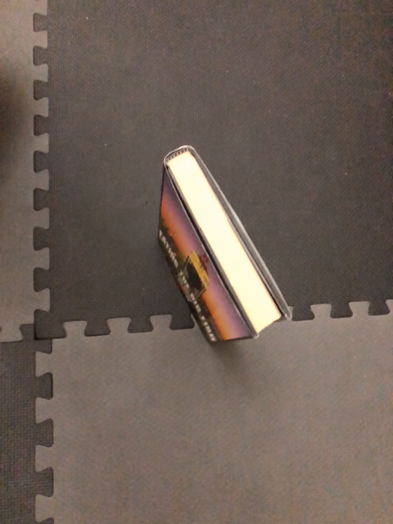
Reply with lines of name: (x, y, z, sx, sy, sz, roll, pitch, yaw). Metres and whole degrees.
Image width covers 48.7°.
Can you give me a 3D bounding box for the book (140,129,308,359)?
book: (0.009, 0.007, 0.464, 0.050, 0.260, 0.180, -27, 82, -10)
